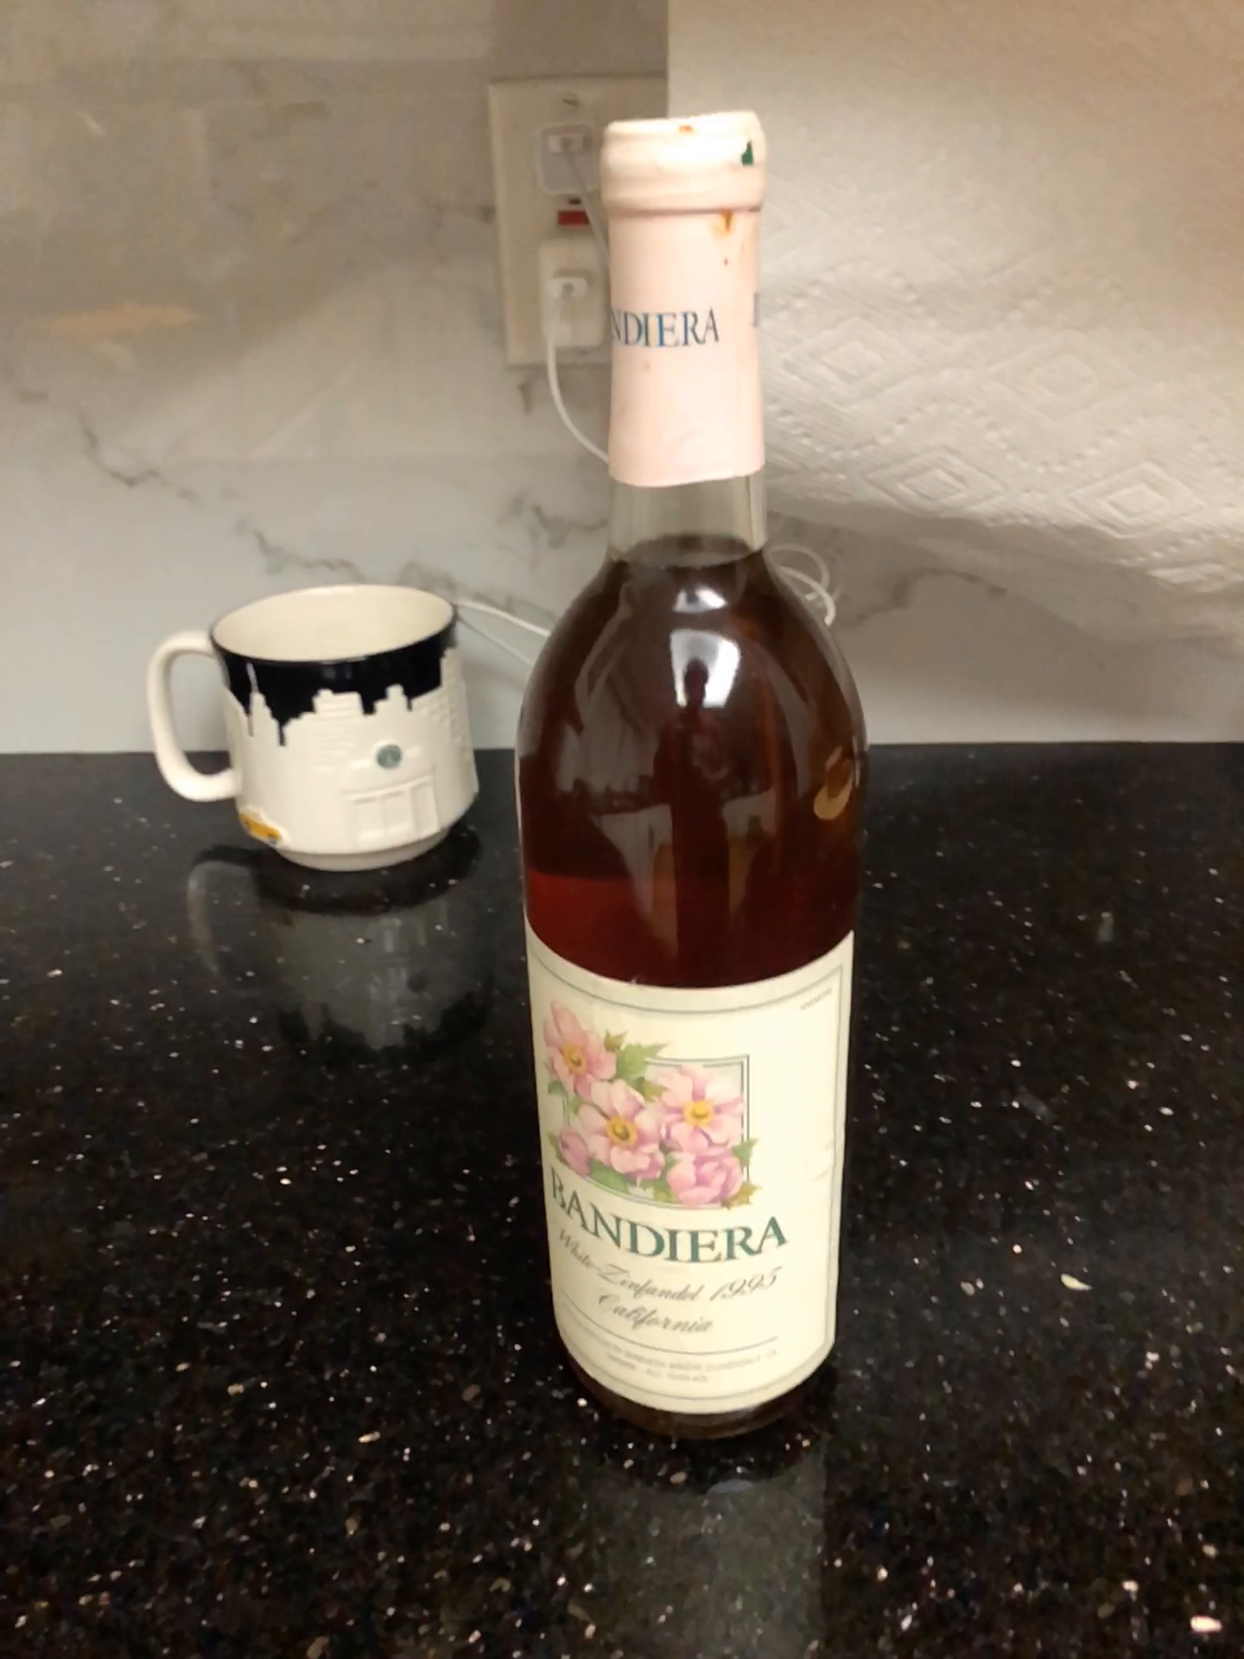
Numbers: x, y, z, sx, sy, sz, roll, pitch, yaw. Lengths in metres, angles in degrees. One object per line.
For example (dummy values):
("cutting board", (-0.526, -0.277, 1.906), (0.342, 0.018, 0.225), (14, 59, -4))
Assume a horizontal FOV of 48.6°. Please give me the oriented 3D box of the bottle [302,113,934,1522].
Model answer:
("bottle", (0.008, 0.007, 0.291), (0.080, 0.278, 0.080), (-2, 27, 1))
